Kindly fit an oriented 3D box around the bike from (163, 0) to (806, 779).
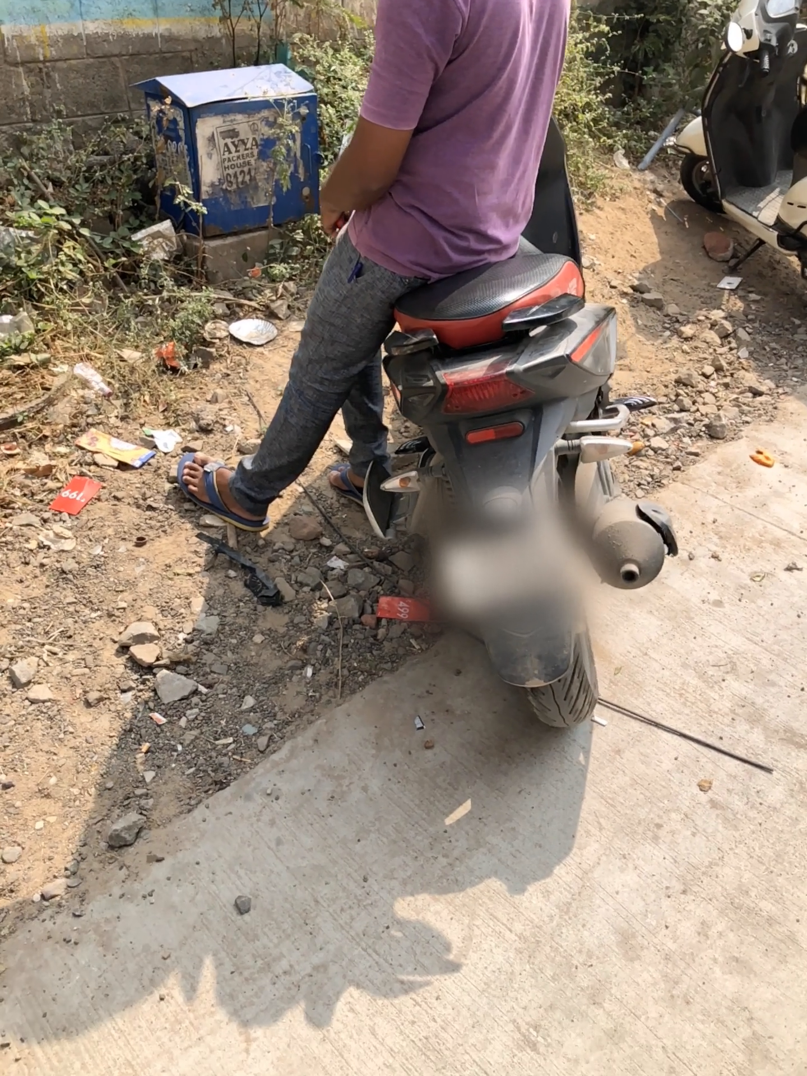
[{"bbox_3d":[-0.026,-0.601,1.989,0.717,1.199,1.775,-1,39,-6],"label":"bike"}]
